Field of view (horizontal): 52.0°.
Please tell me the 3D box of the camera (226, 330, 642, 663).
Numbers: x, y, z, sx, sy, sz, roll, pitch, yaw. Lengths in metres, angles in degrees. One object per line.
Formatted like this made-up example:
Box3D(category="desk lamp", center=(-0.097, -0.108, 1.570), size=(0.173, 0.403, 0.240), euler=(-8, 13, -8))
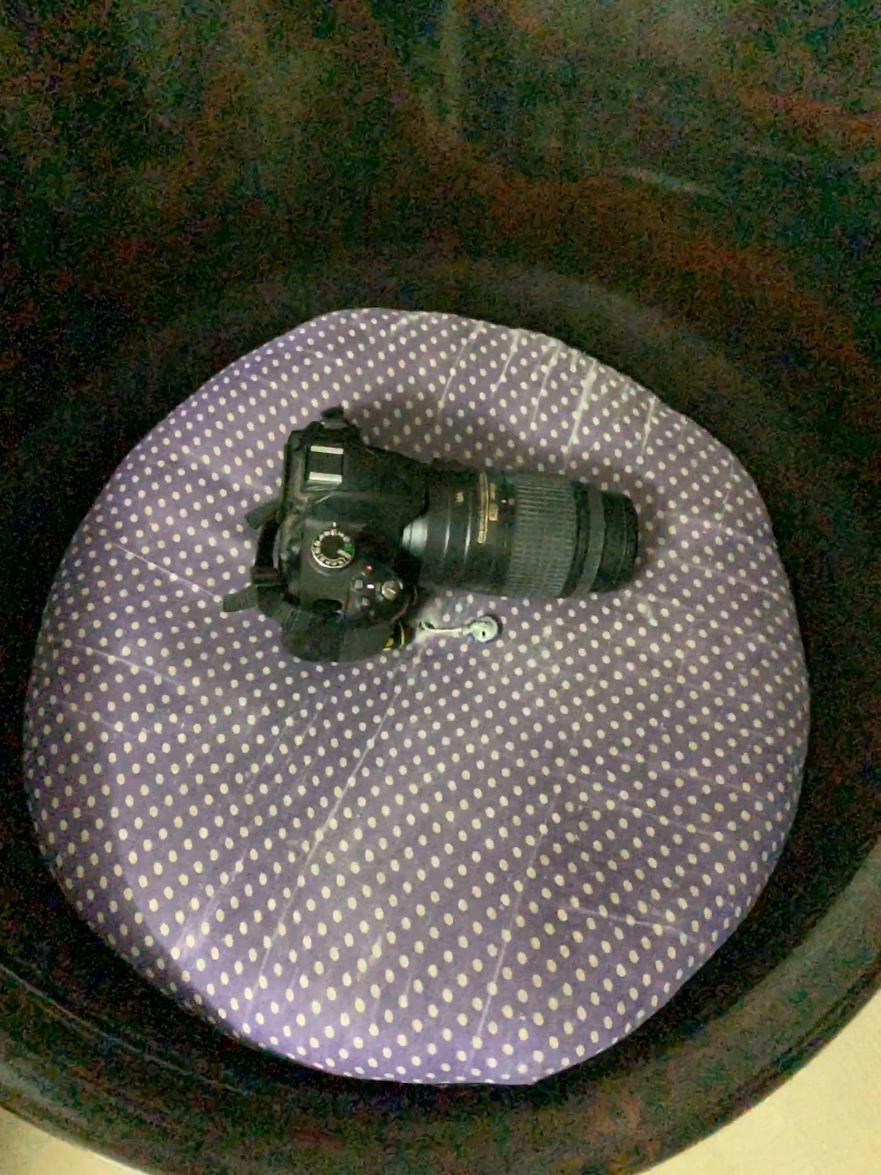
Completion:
Box3D(category="camera", center=(-0.010, -0.045, 0.502), size=(0.200, 0.100, 0.140), euler=(3, 64, -10))
